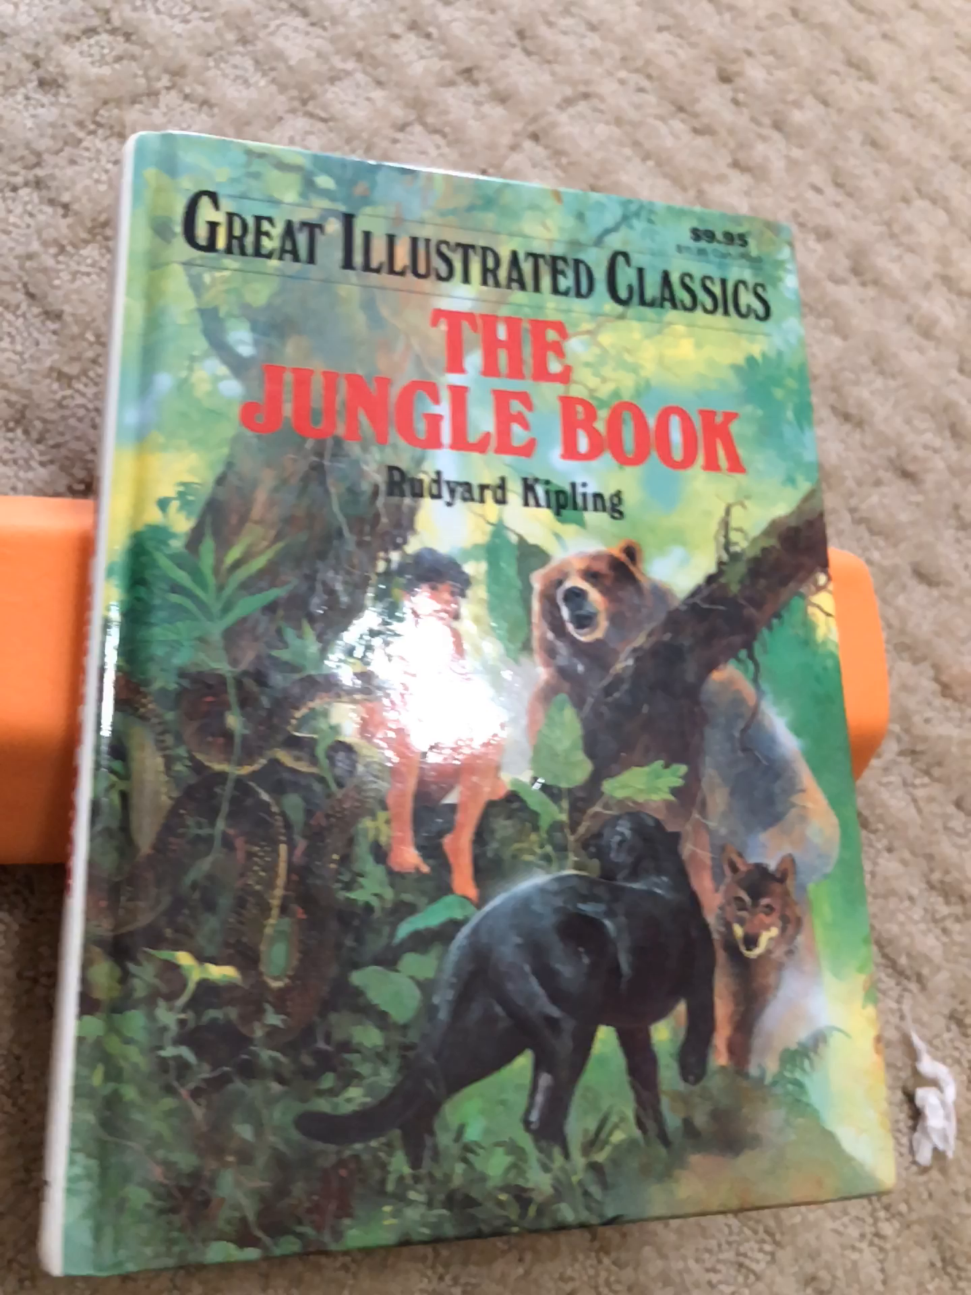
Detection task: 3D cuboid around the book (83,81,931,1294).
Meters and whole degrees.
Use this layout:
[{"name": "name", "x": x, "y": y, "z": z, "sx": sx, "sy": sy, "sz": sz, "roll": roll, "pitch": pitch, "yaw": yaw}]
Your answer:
[{"name": "book", "x": 0.004, "y": 0.000, "z": 0.212, "sx": 0.140, "sy": 0.029, "sz": 0.207, "roll": 2, "pitch": 75, "yaw": -15}]
